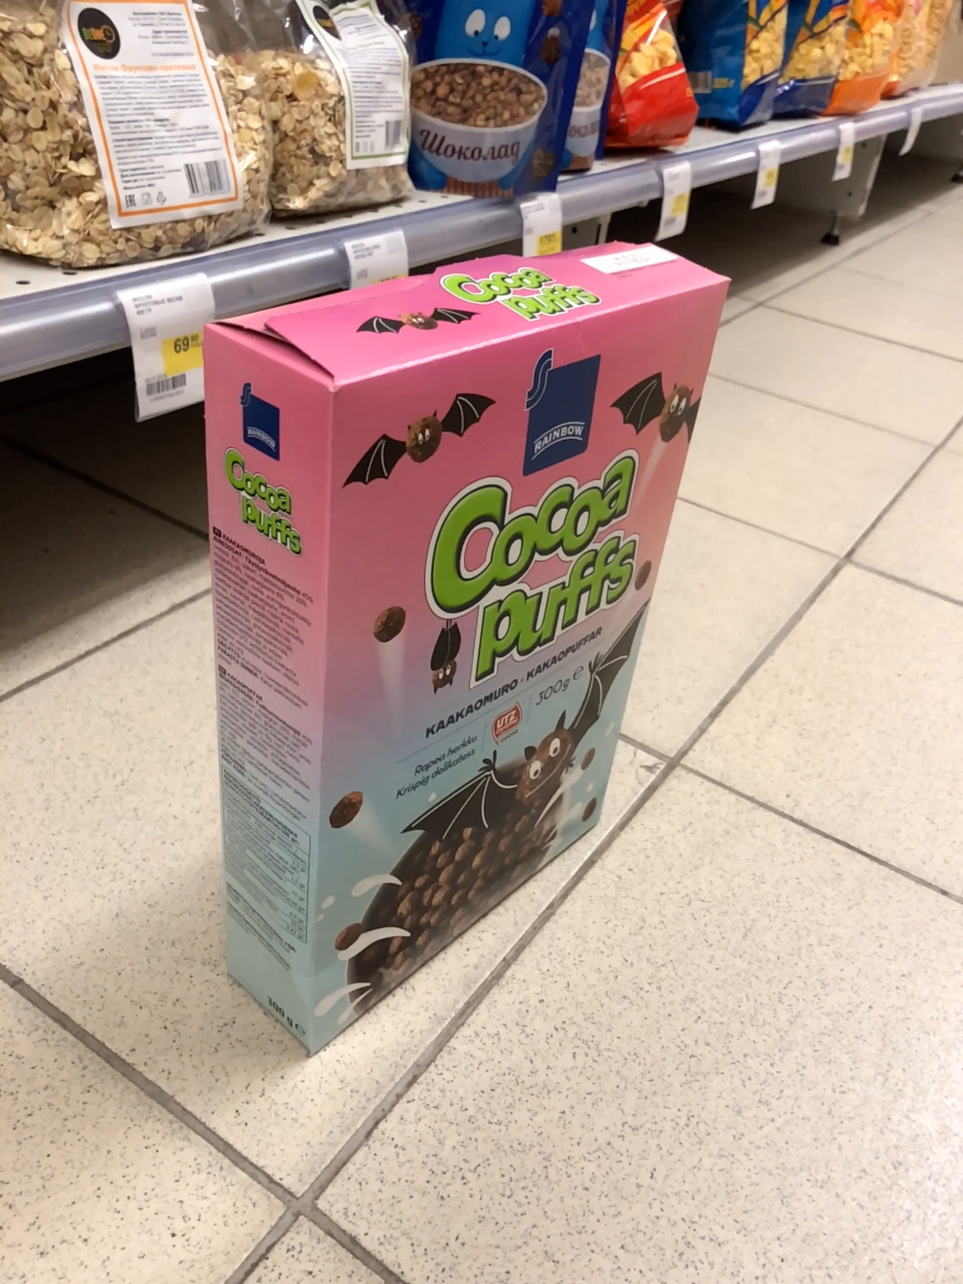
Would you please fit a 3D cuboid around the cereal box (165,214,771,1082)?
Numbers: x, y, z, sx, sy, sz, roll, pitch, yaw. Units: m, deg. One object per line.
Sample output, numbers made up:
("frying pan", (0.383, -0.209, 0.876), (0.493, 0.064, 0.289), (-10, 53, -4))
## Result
("cereal box", (-0.004, -0.002, 0.397), (0.060, 0.268, 0.211), (30, 40, 30))
